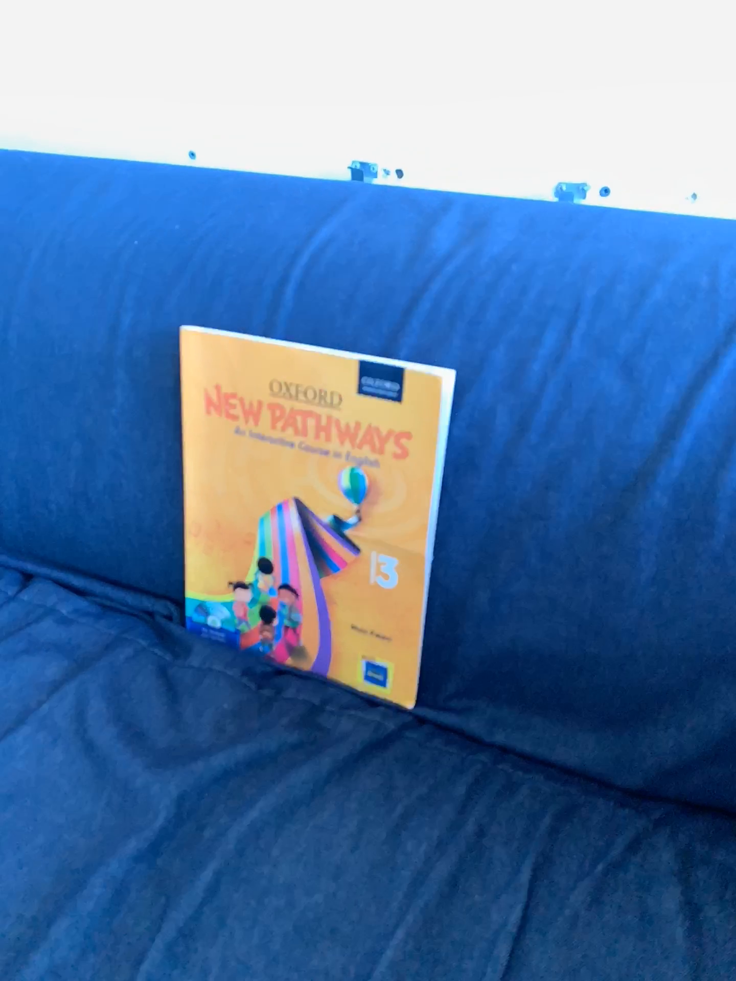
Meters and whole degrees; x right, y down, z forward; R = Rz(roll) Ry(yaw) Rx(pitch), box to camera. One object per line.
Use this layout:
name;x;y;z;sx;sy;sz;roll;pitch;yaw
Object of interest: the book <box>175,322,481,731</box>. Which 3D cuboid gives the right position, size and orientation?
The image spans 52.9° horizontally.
book;-0.047;0.029;0.584;0.230;0.283;0.030;14;24;20
